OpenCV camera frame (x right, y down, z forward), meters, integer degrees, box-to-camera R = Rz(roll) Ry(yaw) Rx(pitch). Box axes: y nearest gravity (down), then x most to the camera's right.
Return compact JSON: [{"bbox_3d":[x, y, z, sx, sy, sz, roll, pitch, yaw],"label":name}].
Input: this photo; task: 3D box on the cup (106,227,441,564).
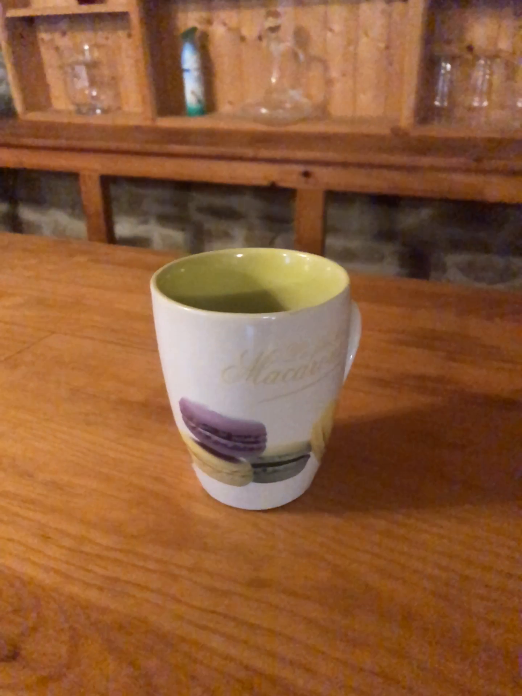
[{"bbox_3d":[0.009,0.010,0.285,0.098,0.099,0.121,22,33,37],"label":"cup"}]
